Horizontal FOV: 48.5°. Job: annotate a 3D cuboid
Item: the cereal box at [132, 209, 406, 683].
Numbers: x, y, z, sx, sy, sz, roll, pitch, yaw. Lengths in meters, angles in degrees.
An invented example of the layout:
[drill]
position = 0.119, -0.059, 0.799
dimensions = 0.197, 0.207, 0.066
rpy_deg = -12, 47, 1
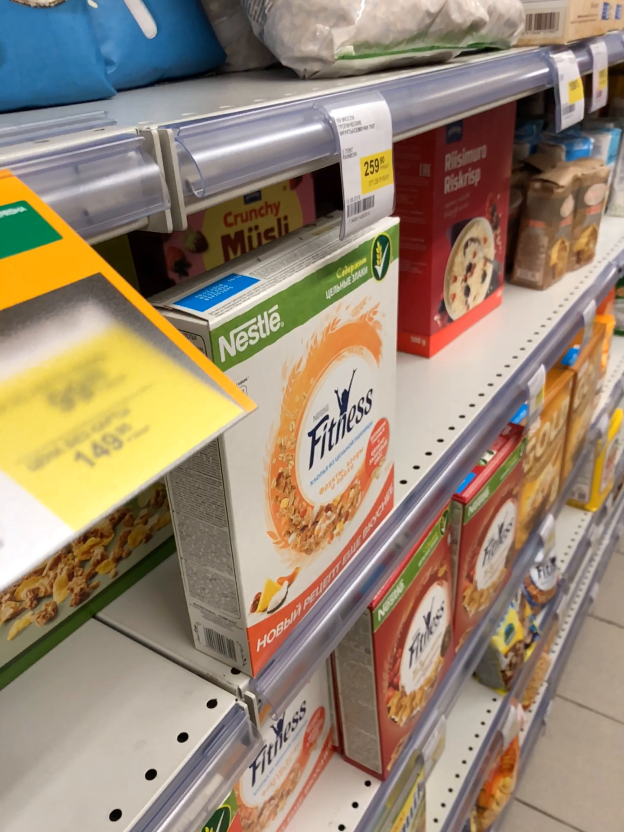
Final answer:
[cereal box]
position = -0.008, 0.011, 0.435
dimensions = 0.050, 0.229, 0.191
rpy_deg = 15, 35, 28
